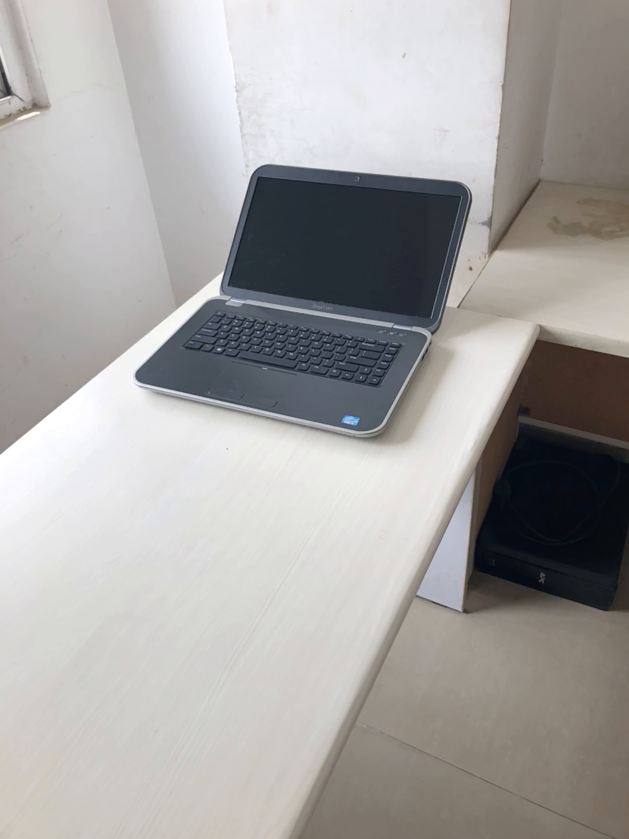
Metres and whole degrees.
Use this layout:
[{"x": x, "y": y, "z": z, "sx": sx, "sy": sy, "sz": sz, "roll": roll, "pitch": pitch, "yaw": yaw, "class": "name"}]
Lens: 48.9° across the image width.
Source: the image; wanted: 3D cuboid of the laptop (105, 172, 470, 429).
[{"x": -0.010, "y": -0.198, "z": 0.983, "sx": 0.342, "sy": 0.145, "sz": 0.408, "roll": 13, "pitch": 42, "yaw": 21, "class": "laptop"}]
